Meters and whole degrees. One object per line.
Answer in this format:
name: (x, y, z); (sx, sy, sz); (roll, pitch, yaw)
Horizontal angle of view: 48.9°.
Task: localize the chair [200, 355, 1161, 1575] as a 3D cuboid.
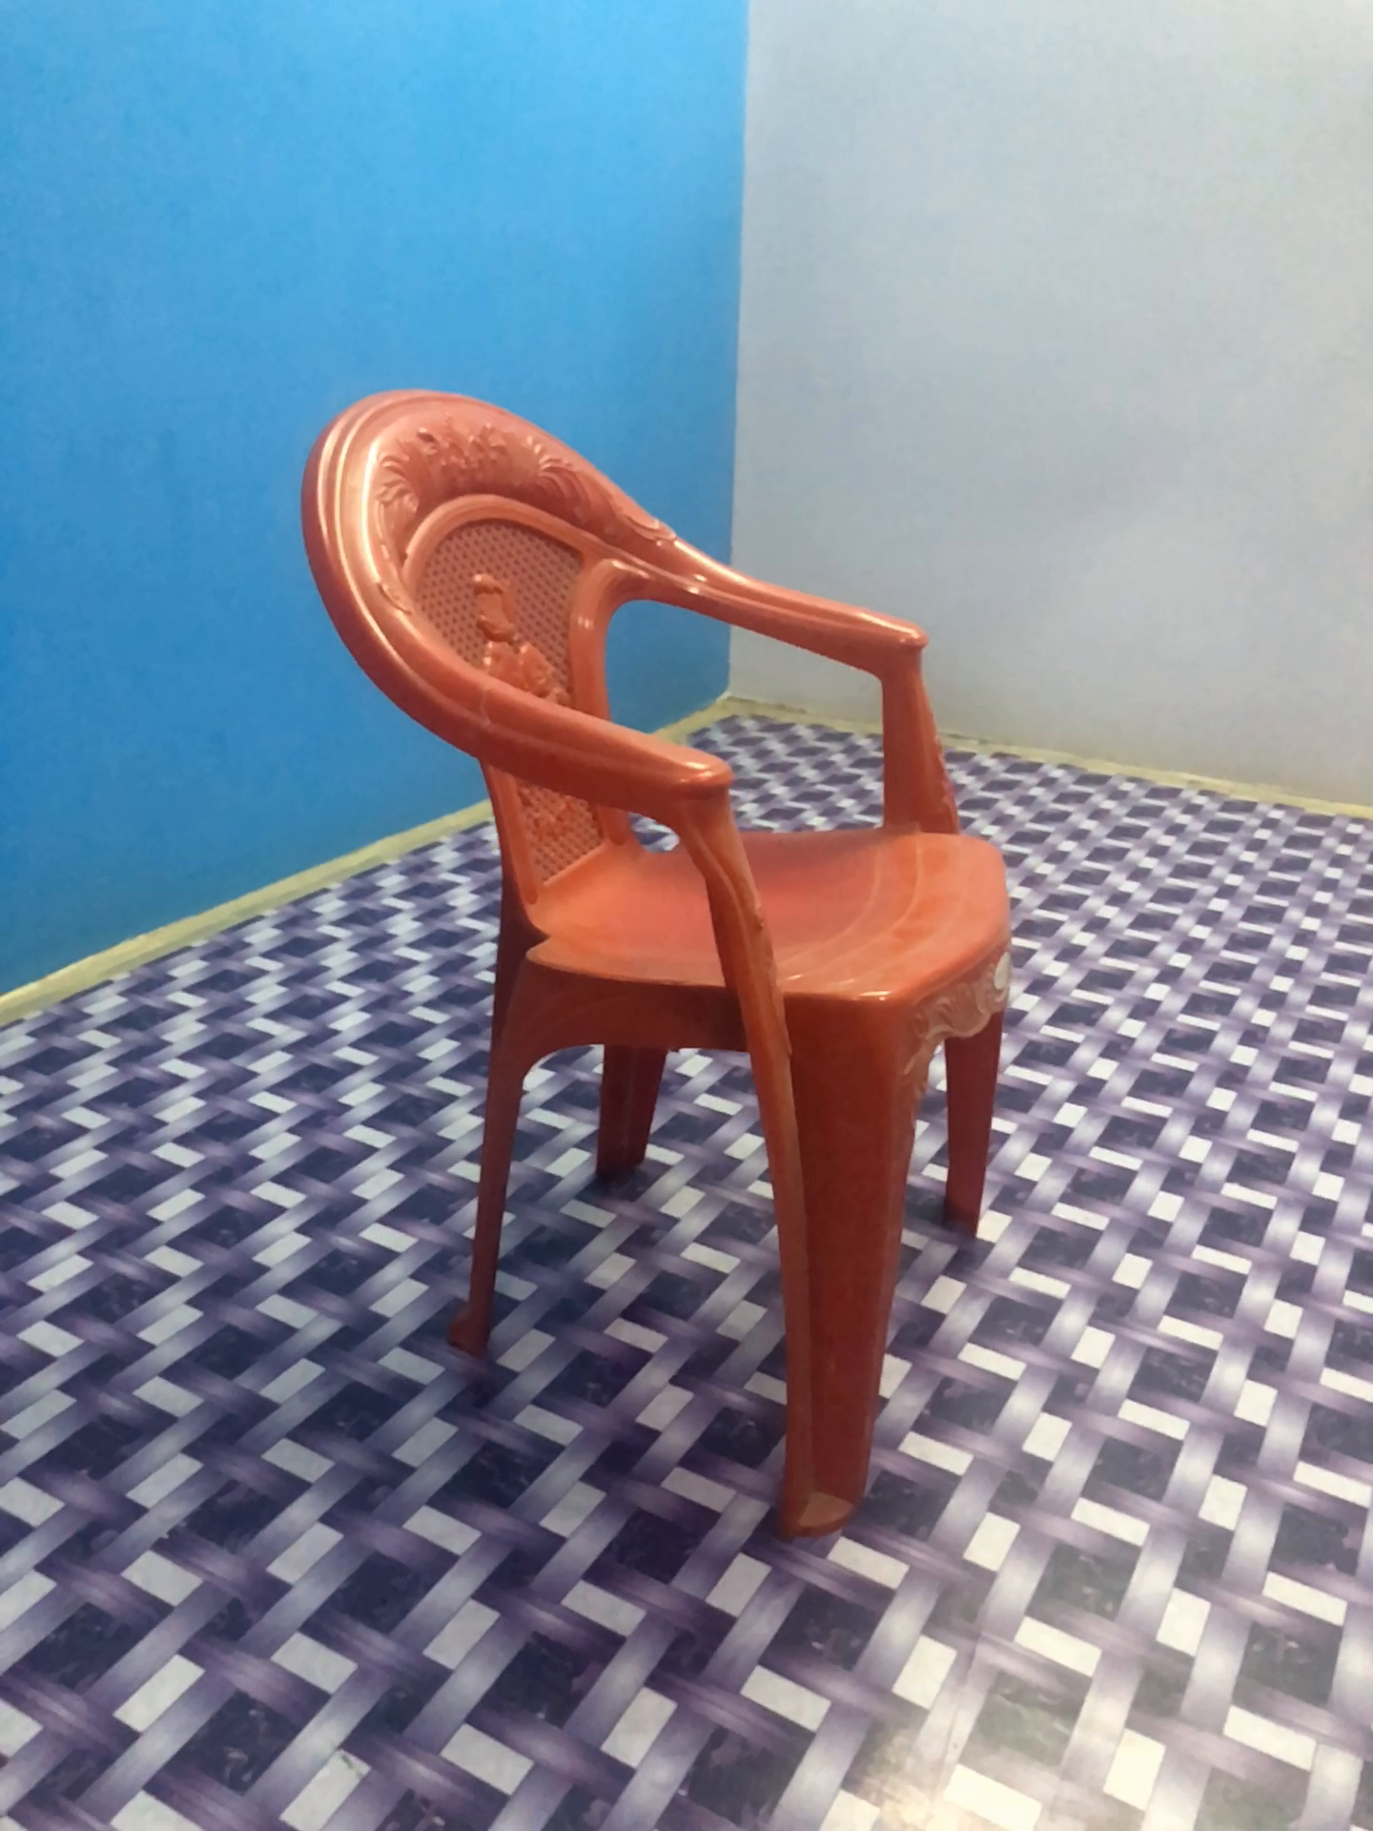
chair: (0.022, -0.030, 0.903); (0.380, 0.558, 0.412); (10, 22, 21)
